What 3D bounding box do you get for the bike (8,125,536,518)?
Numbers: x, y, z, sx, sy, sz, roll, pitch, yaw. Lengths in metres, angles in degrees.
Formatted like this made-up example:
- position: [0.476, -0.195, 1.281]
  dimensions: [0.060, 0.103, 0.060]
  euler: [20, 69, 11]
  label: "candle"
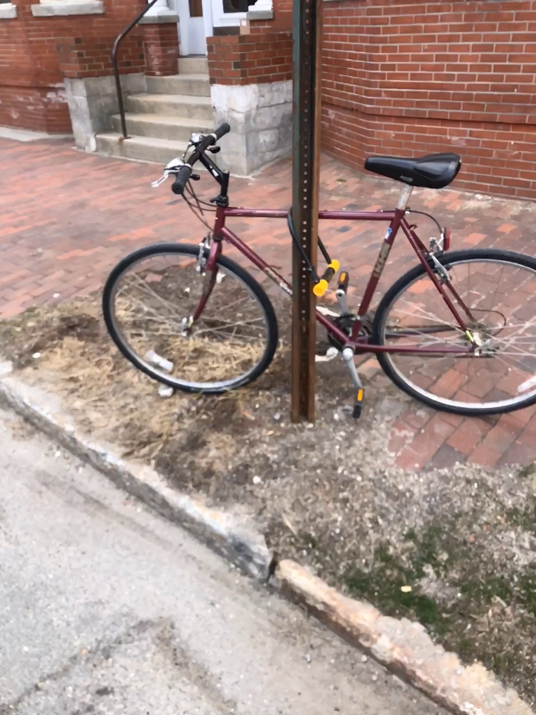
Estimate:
- position: [0.196, -0.199, 2.006]
  dimensions: [1.726, 1.011, 0.672]
  euler: [5, 30, 13]
  label: "bike"
